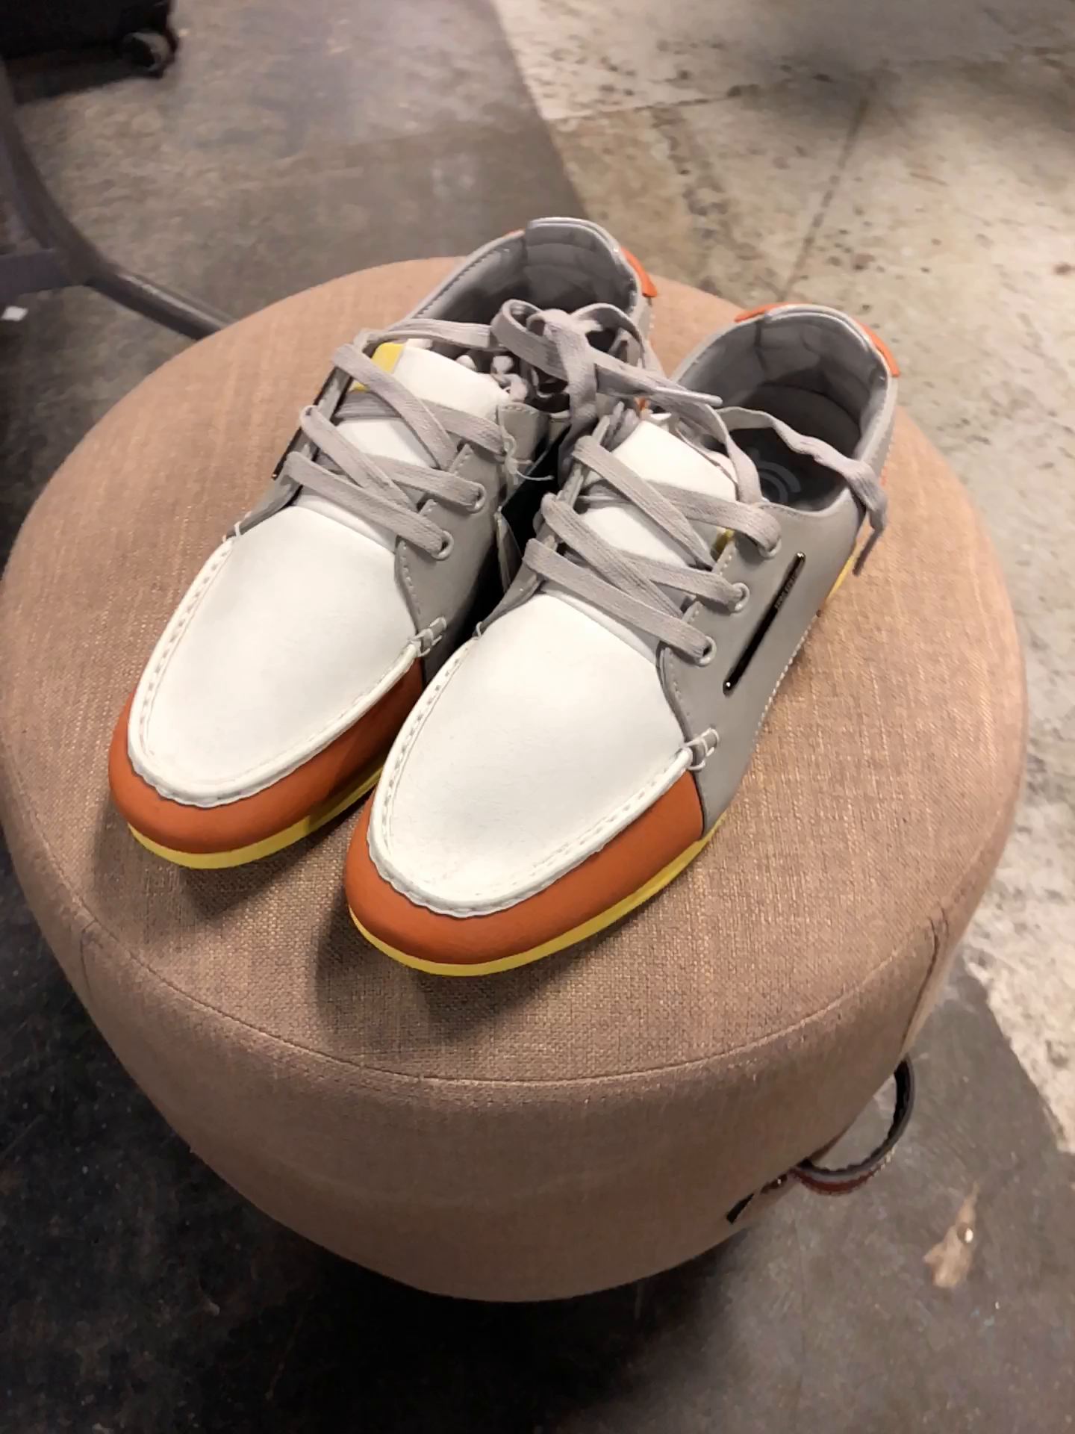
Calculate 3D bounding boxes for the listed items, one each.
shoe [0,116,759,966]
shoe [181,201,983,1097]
[{"bbox_3d":[-0.042,-0.073,0.400,0.100,0.099,0.281,29,61,16],"label":"shoe"},{"bbox_3d":[0.026,-0.032,0.362,0.100,0.099,0.251,29,61,16],"label":"shoe"}]
